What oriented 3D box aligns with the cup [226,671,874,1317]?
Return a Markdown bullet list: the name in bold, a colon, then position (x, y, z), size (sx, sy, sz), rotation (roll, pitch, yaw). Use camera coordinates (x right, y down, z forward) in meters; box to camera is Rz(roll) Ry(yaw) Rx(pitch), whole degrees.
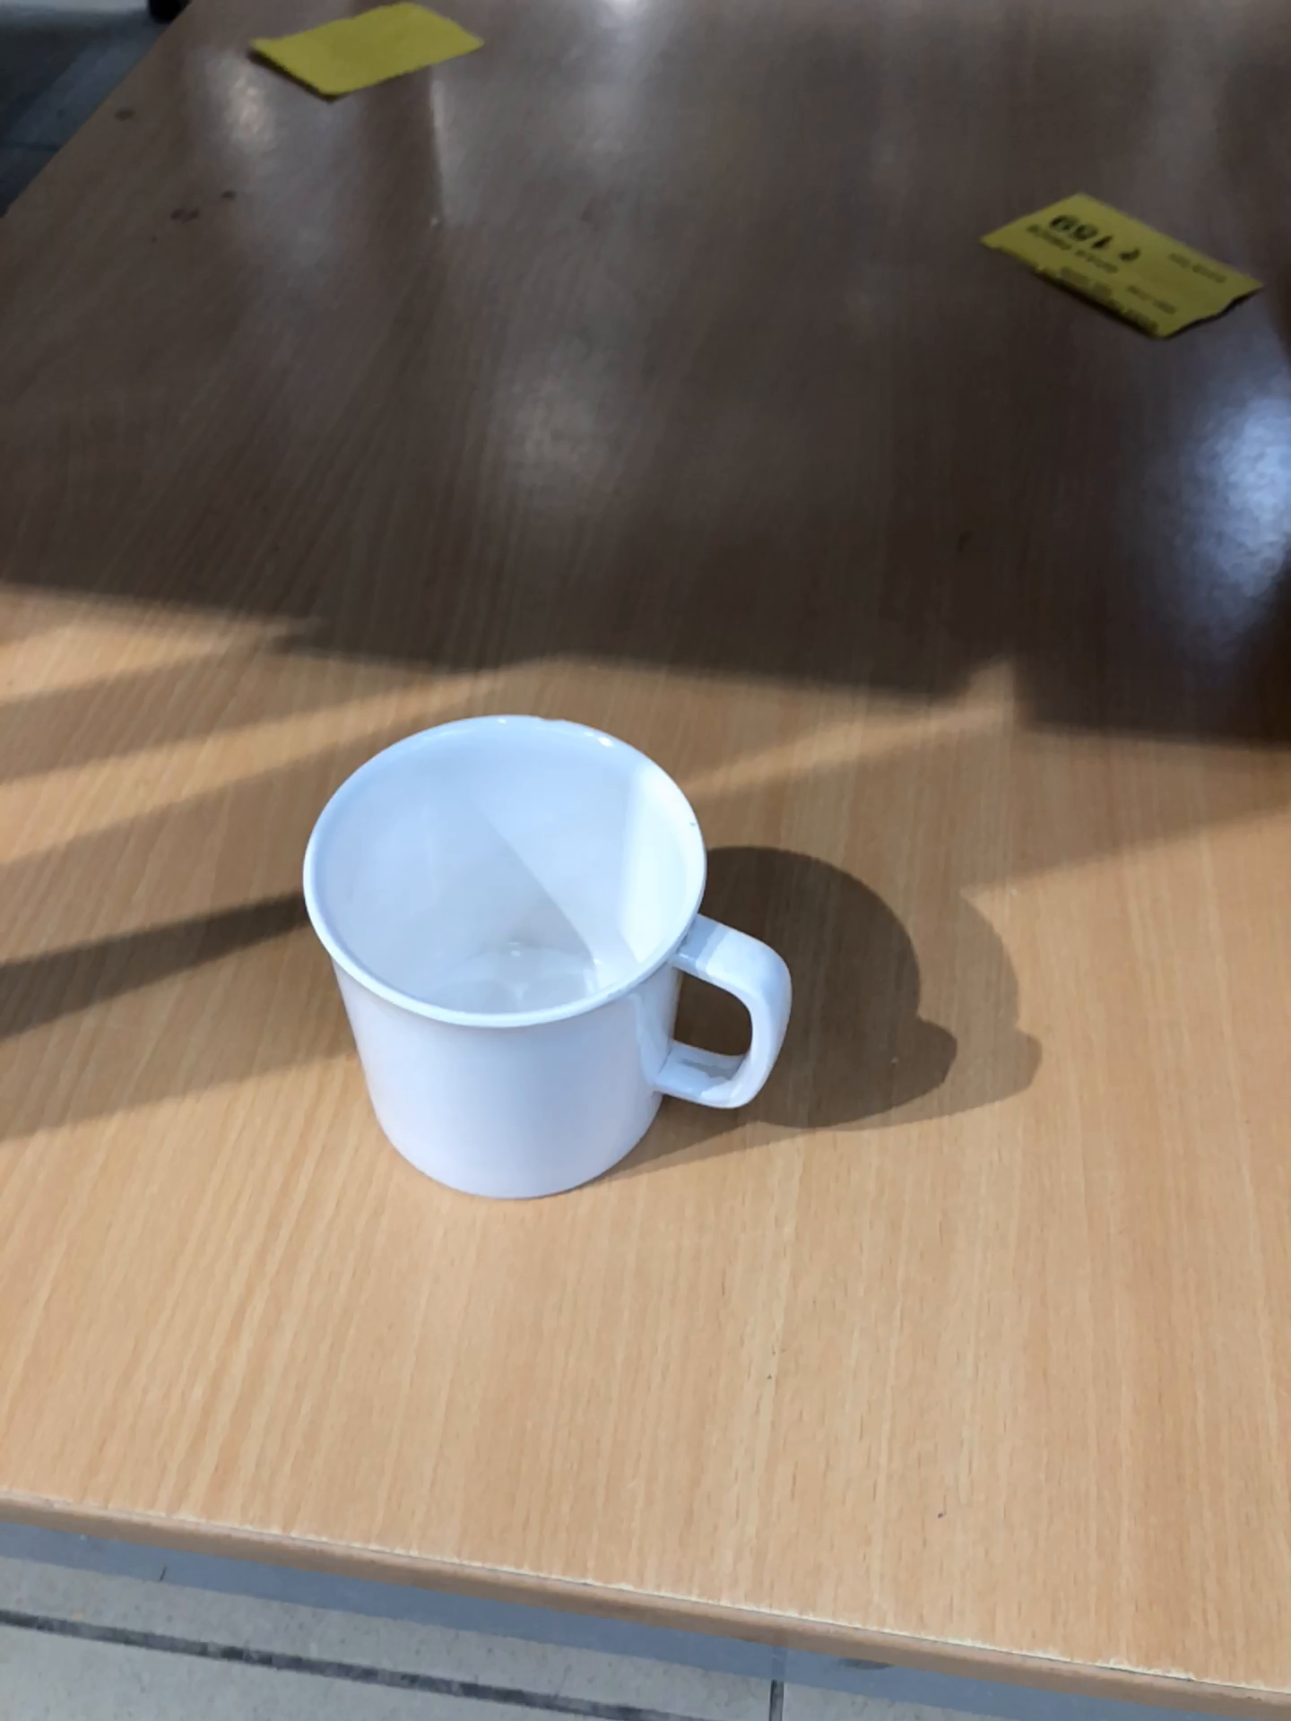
- **cup**: position (-0.019, 0.030, 0.331), size (0.110, 0.090, 0.080), rotation (19, 52, 13)
